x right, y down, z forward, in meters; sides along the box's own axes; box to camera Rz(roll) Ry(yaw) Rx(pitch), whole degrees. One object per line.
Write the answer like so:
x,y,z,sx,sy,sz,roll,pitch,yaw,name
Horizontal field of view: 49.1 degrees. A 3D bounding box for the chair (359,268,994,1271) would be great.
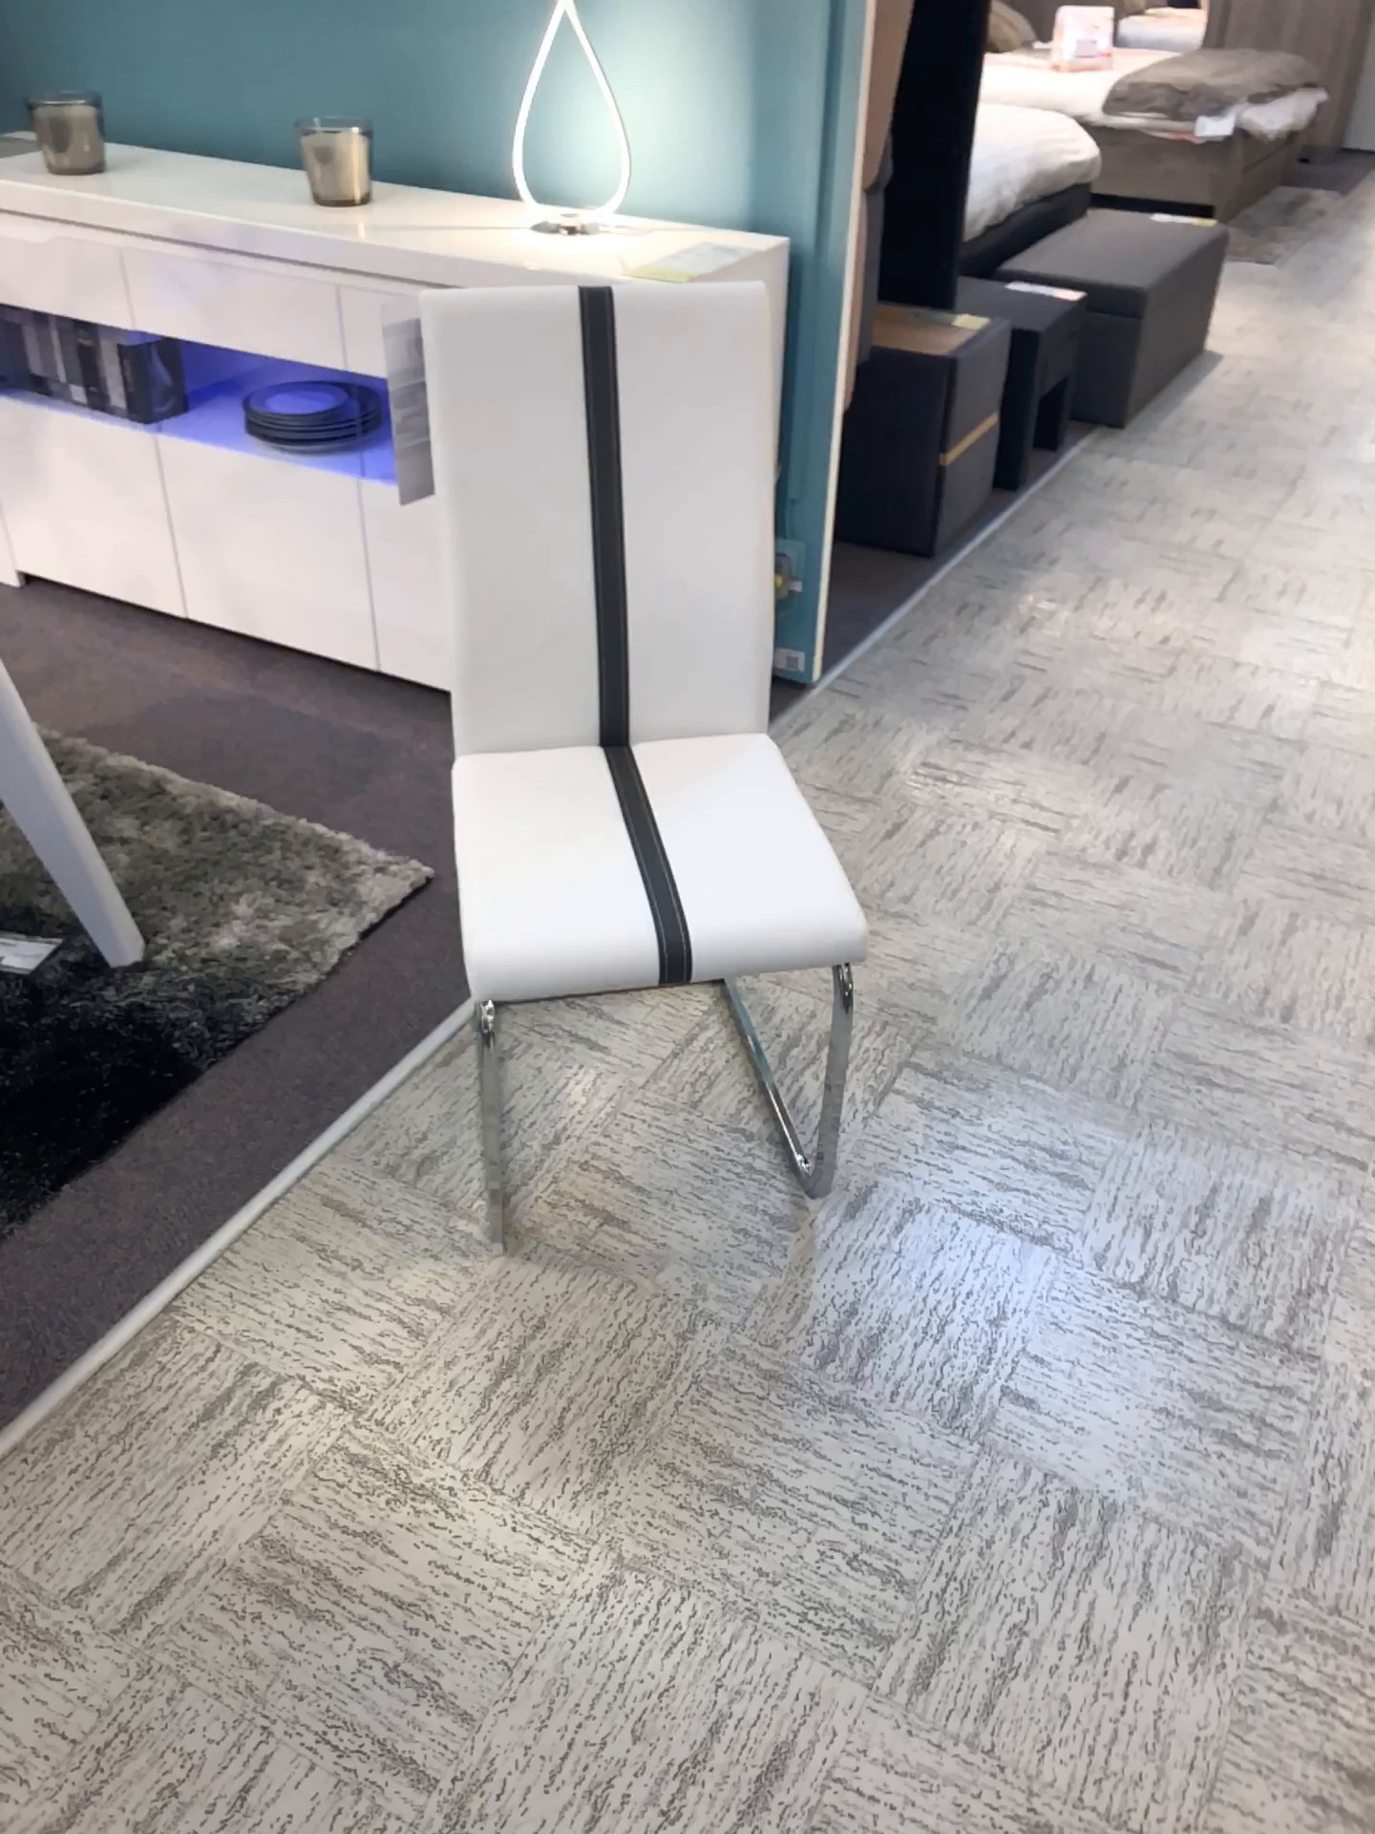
-0.054,-0.164,1.621,0.487,0.878,0.572,-4,35,-8,chair
